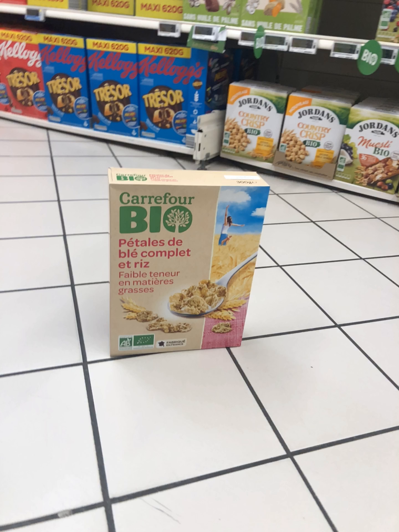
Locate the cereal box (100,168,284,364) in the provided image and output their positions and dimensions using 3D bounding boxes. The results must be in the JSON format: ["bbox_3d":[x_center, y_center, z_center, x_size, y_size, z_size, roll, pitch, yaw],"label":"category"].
[{"bbox_3d":[-0.022,0.003,0.578,0.210,0.239,0.080,-1,28,-13],"label":"cereal box"}]
